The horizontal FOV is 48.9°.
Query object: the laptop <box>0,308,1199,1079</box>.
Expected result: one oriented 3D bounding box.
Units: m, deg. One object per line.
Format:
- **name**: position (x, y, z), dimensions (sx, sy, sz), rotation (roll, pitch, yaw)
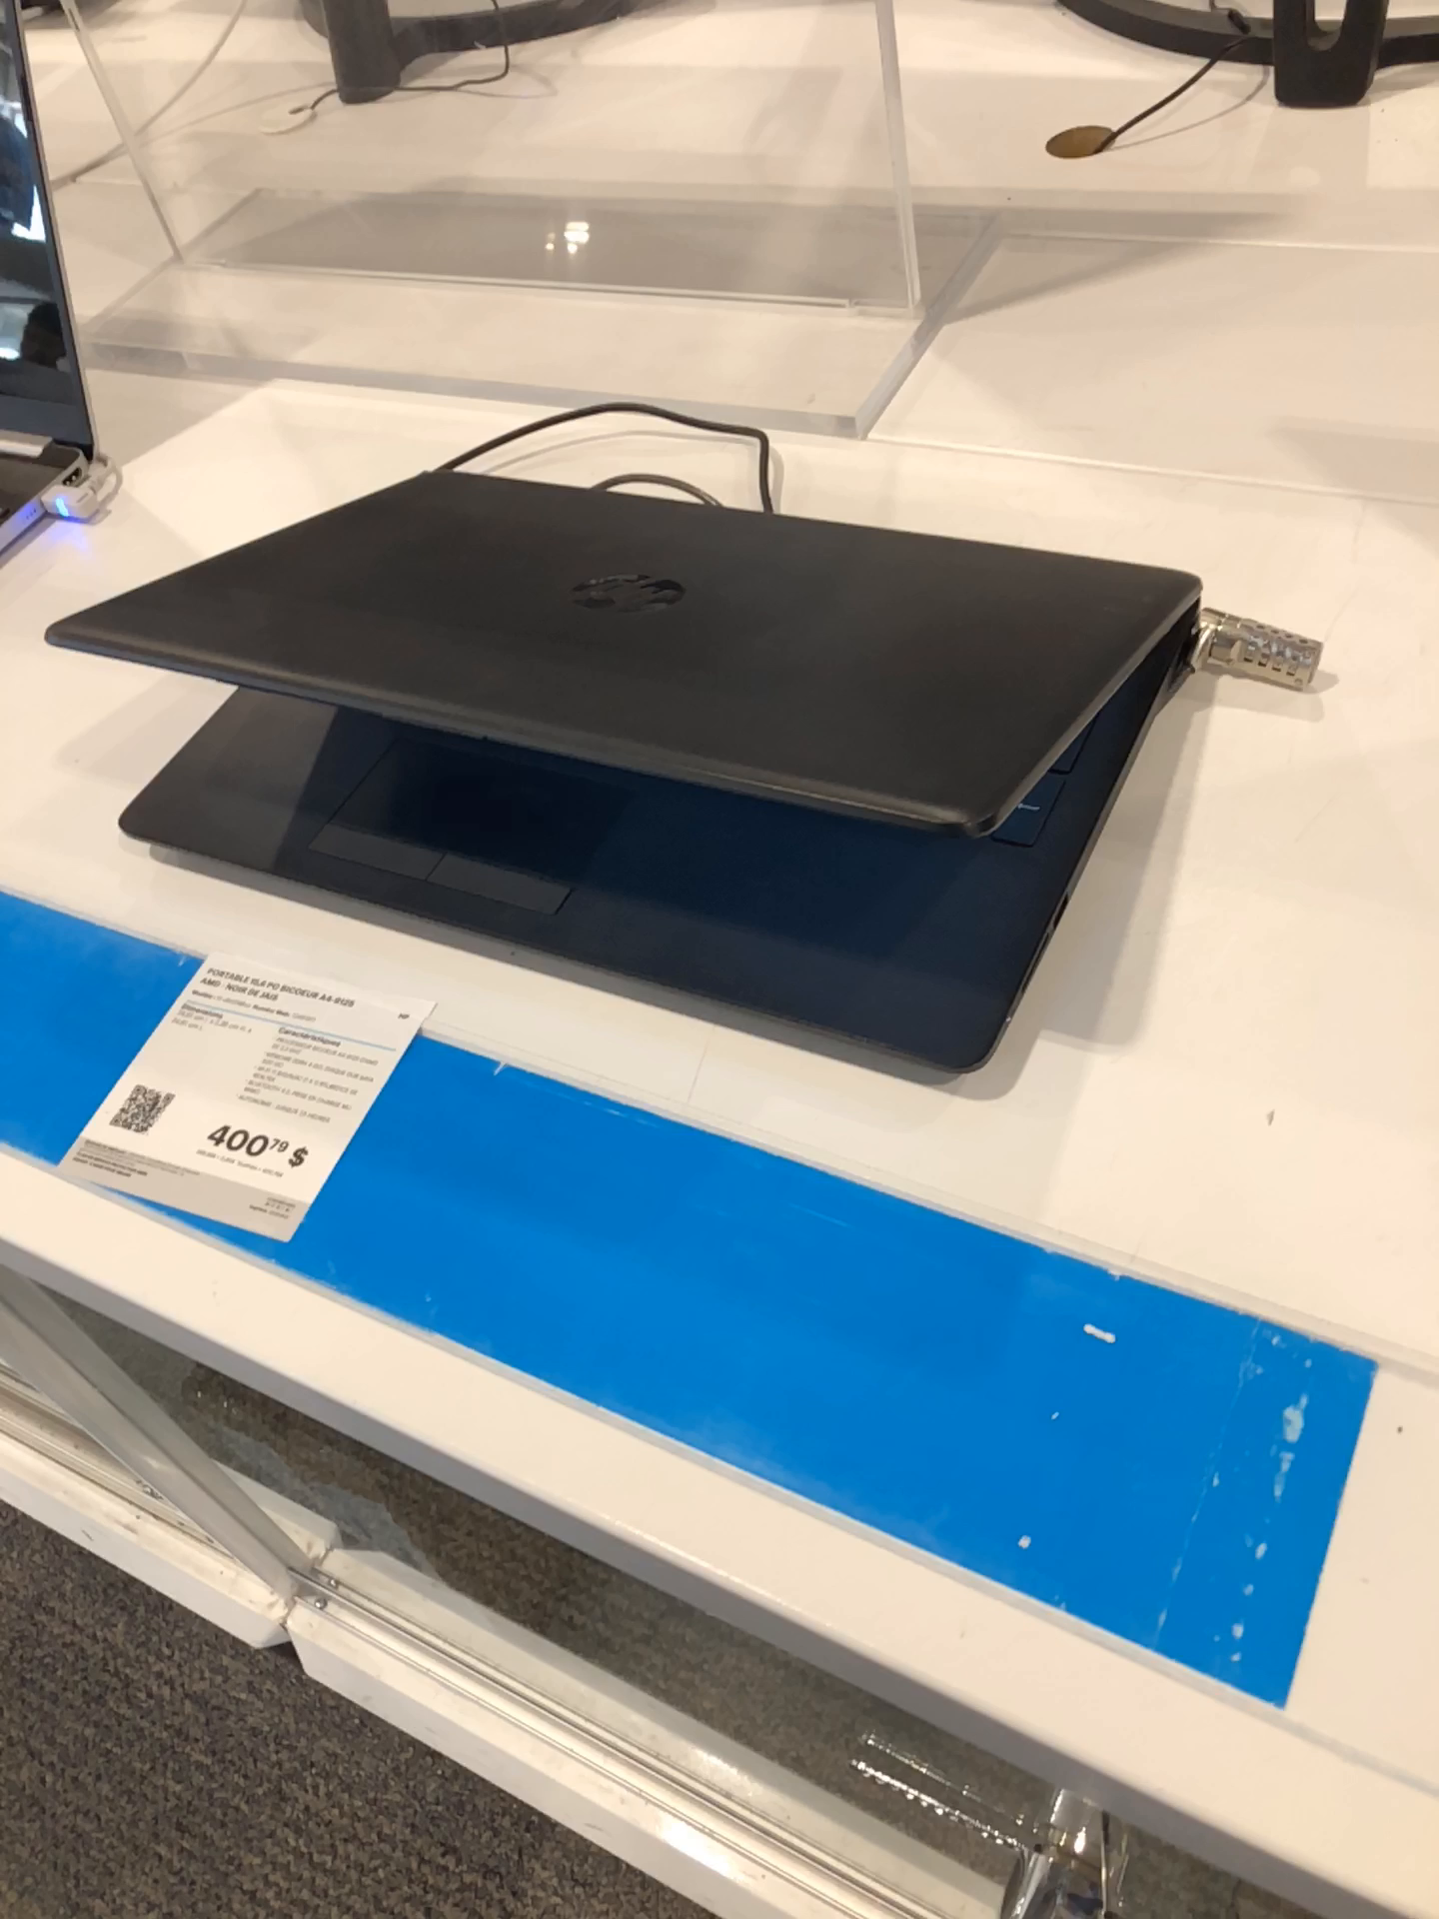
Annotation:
- **laptop**: position (-0.043, -0.121, 0.585), dimensions (0.366, 0.092, 0.235), rotation (15, 55, 22)
